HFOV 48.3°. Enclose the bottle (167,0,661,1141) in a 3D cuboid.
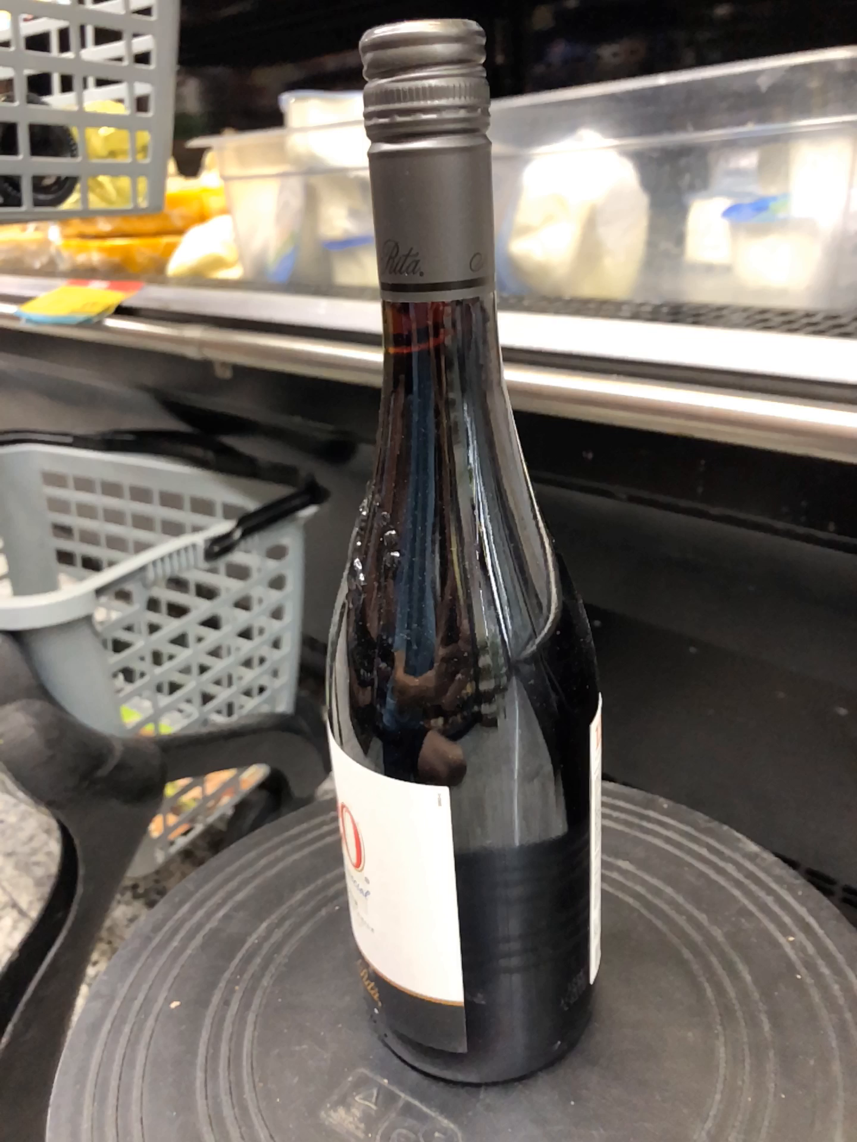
[{"bbox_3d":[0.003,0.012,0.269,0.090,0.288,0.091,-4,23,2],"label":"bottle"}]
